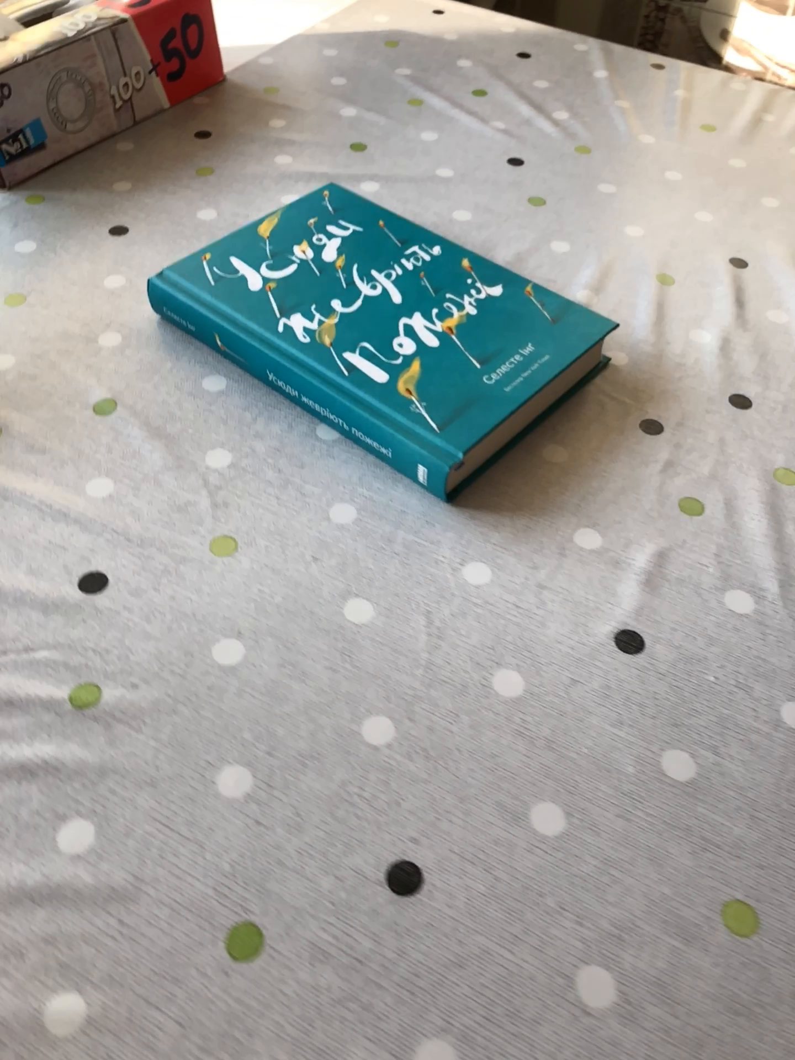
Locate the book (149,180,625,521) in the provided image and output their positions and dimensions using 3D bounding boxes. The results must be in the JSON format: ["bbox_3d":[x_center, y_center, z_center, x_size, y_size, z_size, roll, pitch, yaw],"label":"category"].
[{"bbox_3d":[-0.008,-0.112,0.485,0.214,0.040,0.144,34,56,24],"label":"book"}]
